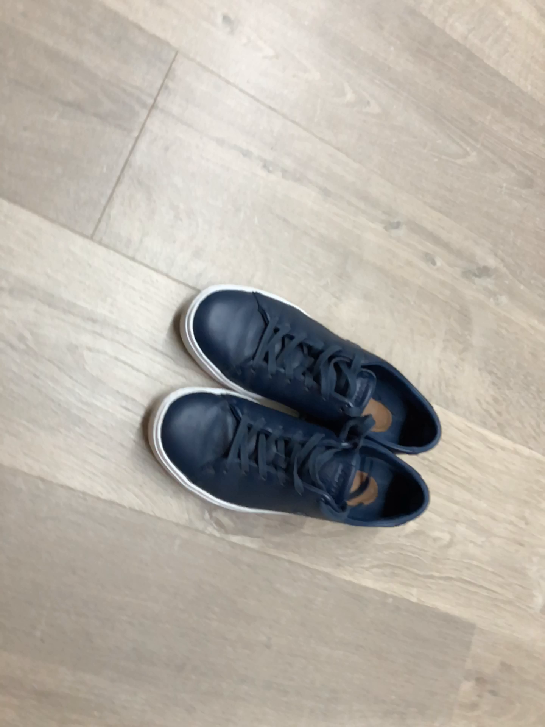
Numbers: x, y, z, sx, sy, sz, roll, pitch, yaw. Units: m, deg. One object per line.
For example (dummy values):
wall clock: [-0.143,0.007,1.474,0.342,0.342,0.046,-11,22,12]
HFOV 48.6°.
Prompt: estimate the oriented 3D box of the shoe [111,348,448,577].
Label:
shoe: [0.010,0.084,0.495,0.247,0.080,0.100,23,78,-20]

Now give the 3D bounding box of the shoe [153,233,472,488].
shoe: [0.038,0.006,0.519,0.247,0.080,0.100,30,76,-18]
